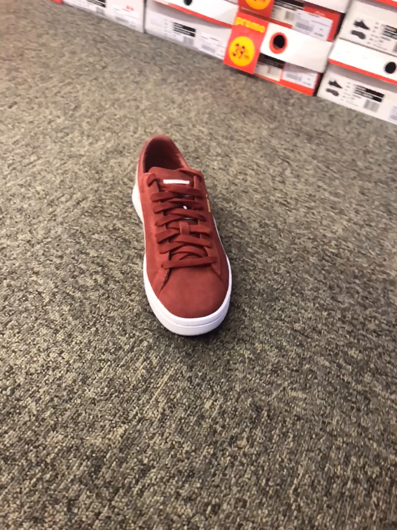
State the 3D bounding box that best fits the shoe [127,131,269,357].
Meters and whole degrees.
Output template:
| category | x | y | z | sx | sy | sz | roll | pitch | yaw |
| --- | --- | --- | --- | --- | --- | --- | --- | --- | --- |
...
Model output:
| category | x | y | z | sx | sy | sz | roll | pitch | yaw |
| --- | --- | --- | --- | --- | --- | --- | --- | --- | --- |
| shoe | -0.017 | -0.038 | 0.470 | 0.100 | 0.080 | 0.251 | -3 | 49 | -12 |
